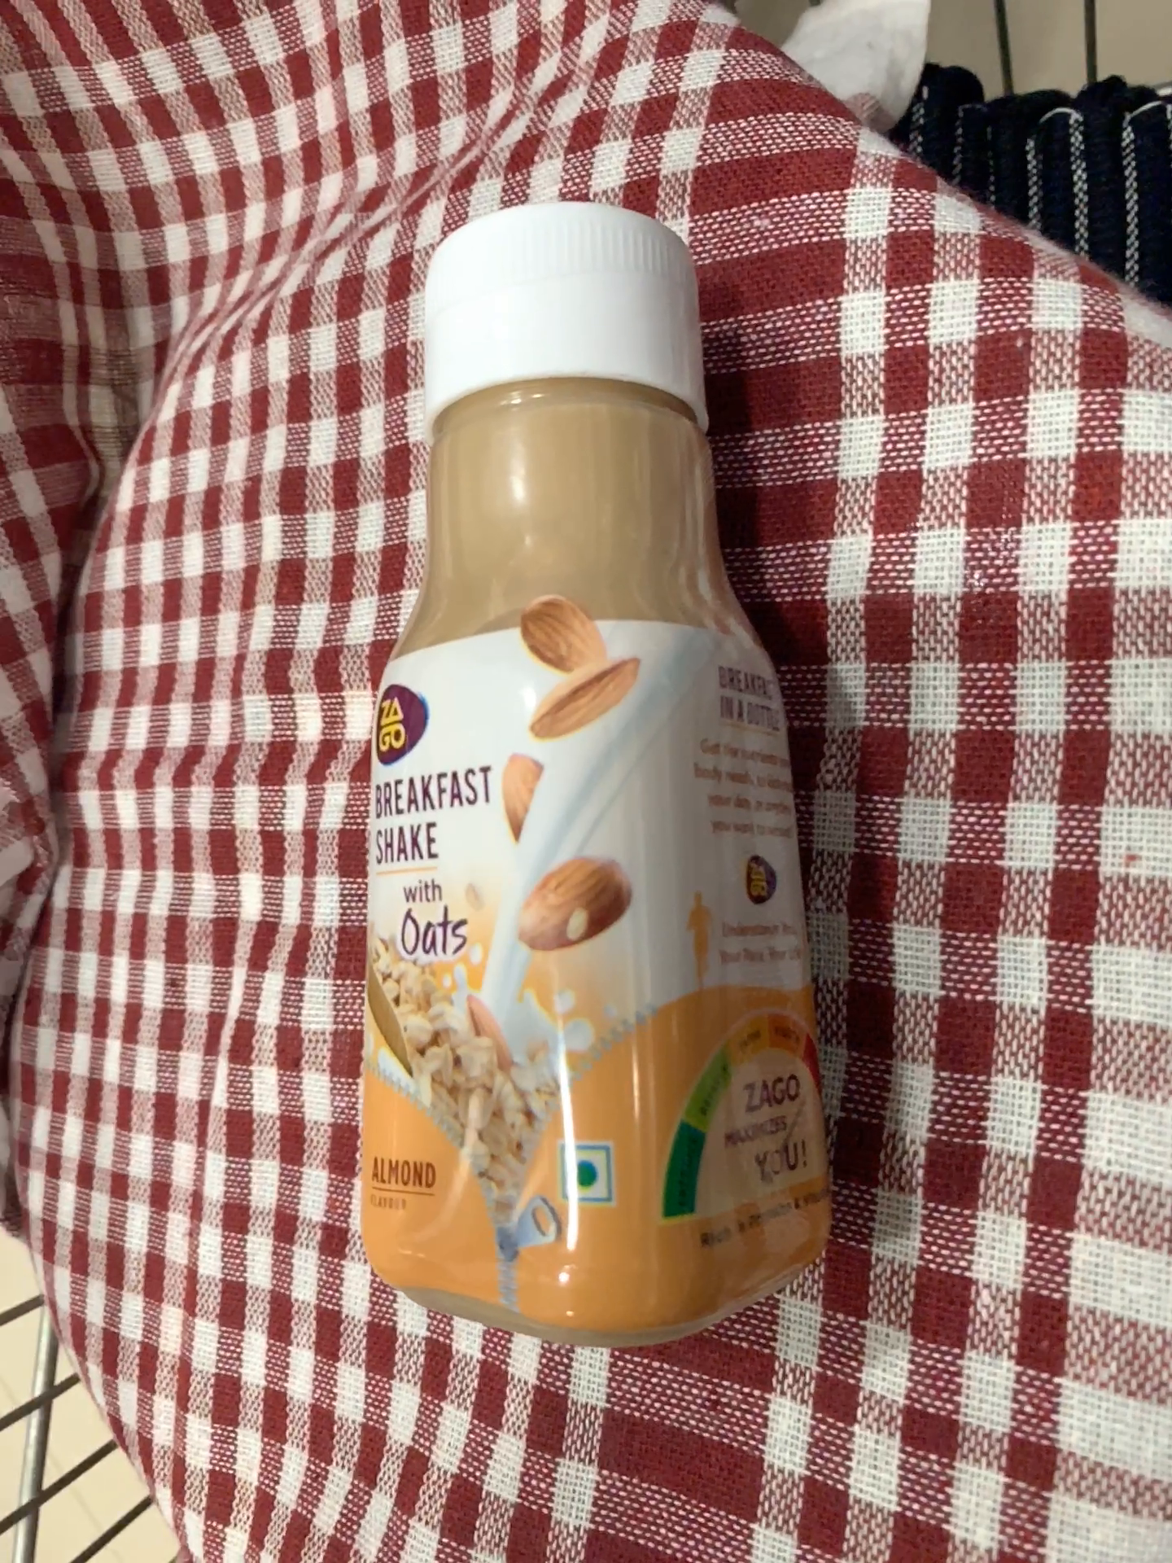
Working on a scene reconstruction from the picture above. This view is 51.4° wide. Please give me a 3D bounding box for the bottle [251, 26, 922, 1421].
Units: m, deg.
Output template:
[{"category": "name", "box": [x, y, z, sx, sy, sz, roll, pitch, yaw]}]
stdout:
[{"category": "bottle", "box": [0.001, -0.005, 0.159, 0.060, 0.050, 0.140, -5, 88, 31]}]
